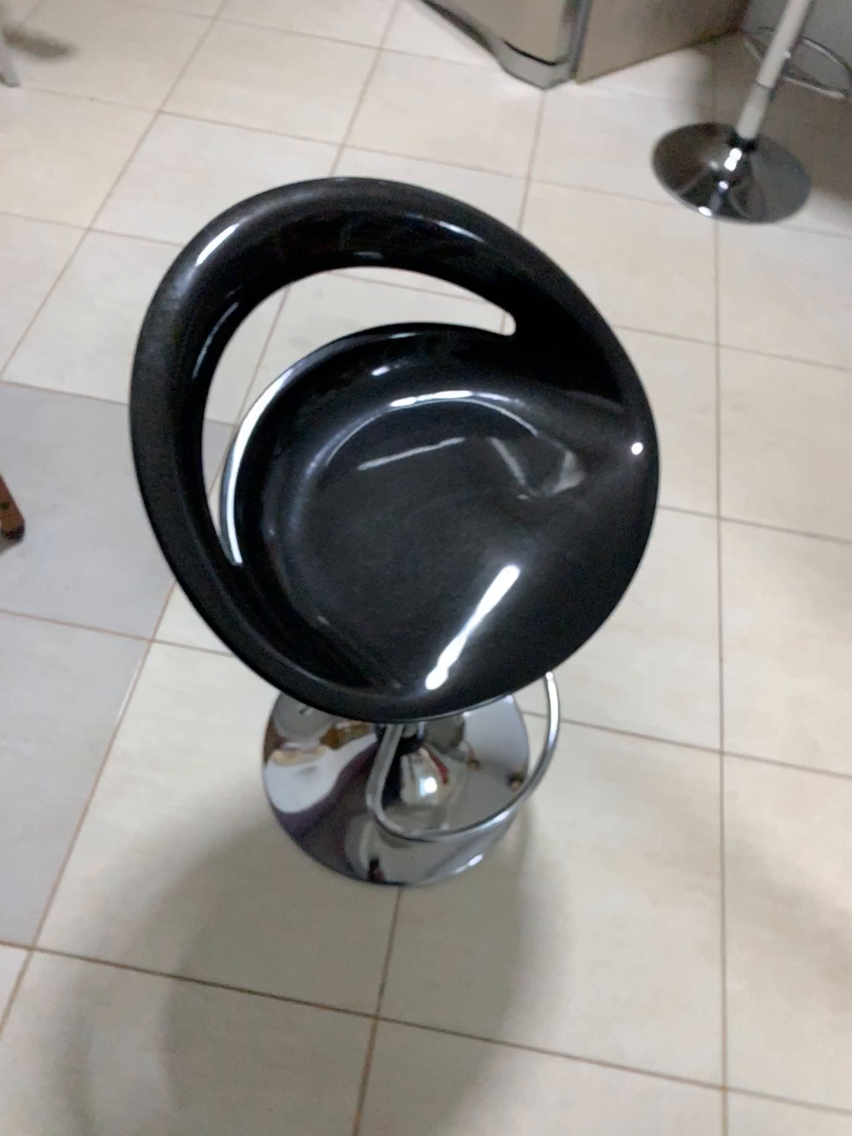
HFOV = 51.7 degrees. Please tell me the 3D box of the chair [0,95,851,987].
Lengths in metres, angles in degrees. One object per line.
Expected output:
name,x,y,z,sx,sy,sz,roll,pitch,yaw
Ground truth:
chair,-0.029,0.058,0.964,0.444,0.814,0.454,42,63,19
